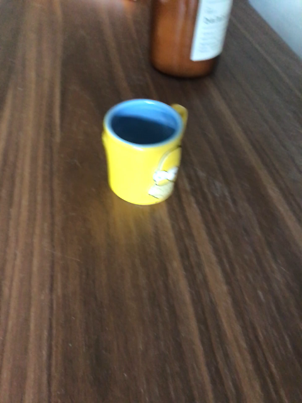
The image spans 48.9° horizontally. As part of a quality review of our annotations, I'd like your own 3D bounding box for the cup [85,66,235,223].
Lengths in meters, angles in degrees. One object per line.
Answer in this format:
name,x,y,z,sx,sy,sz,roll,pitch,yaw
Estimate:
cup,0.008,-0.045,0.248,0.060,0.060,0.091,32,55,21
